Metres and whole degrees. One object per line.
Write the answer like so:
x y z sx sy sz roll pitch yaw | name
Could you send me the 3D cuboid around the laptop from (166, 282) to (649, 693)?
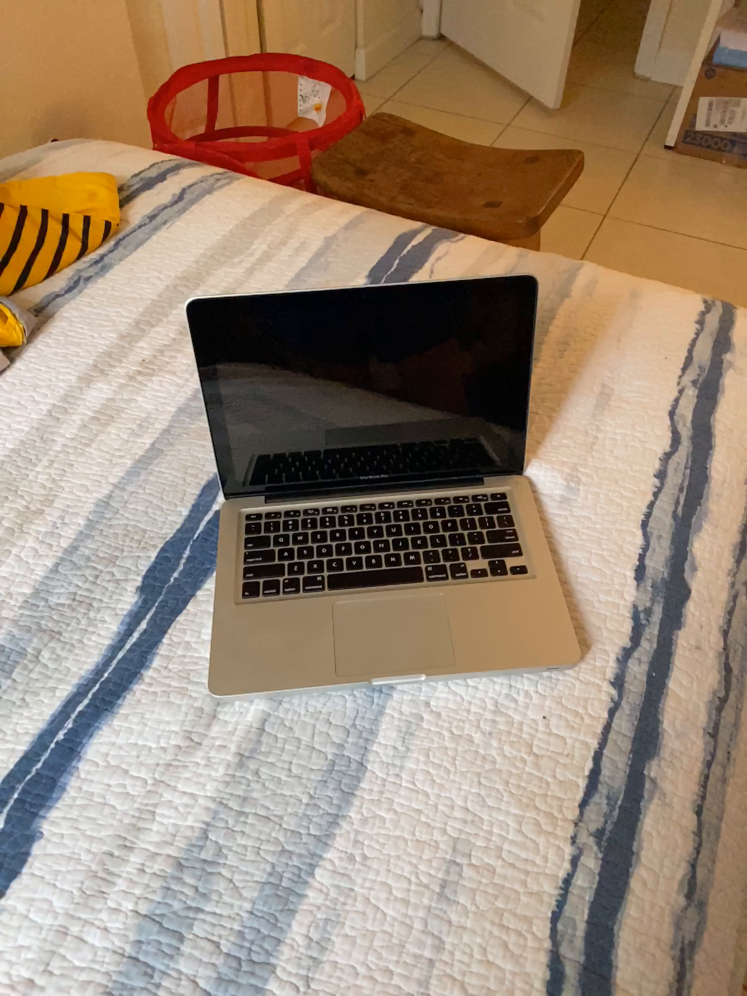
0.010 -0.017 0.668 0.318 0.199 0.279 -4 48 -3 | laptop
